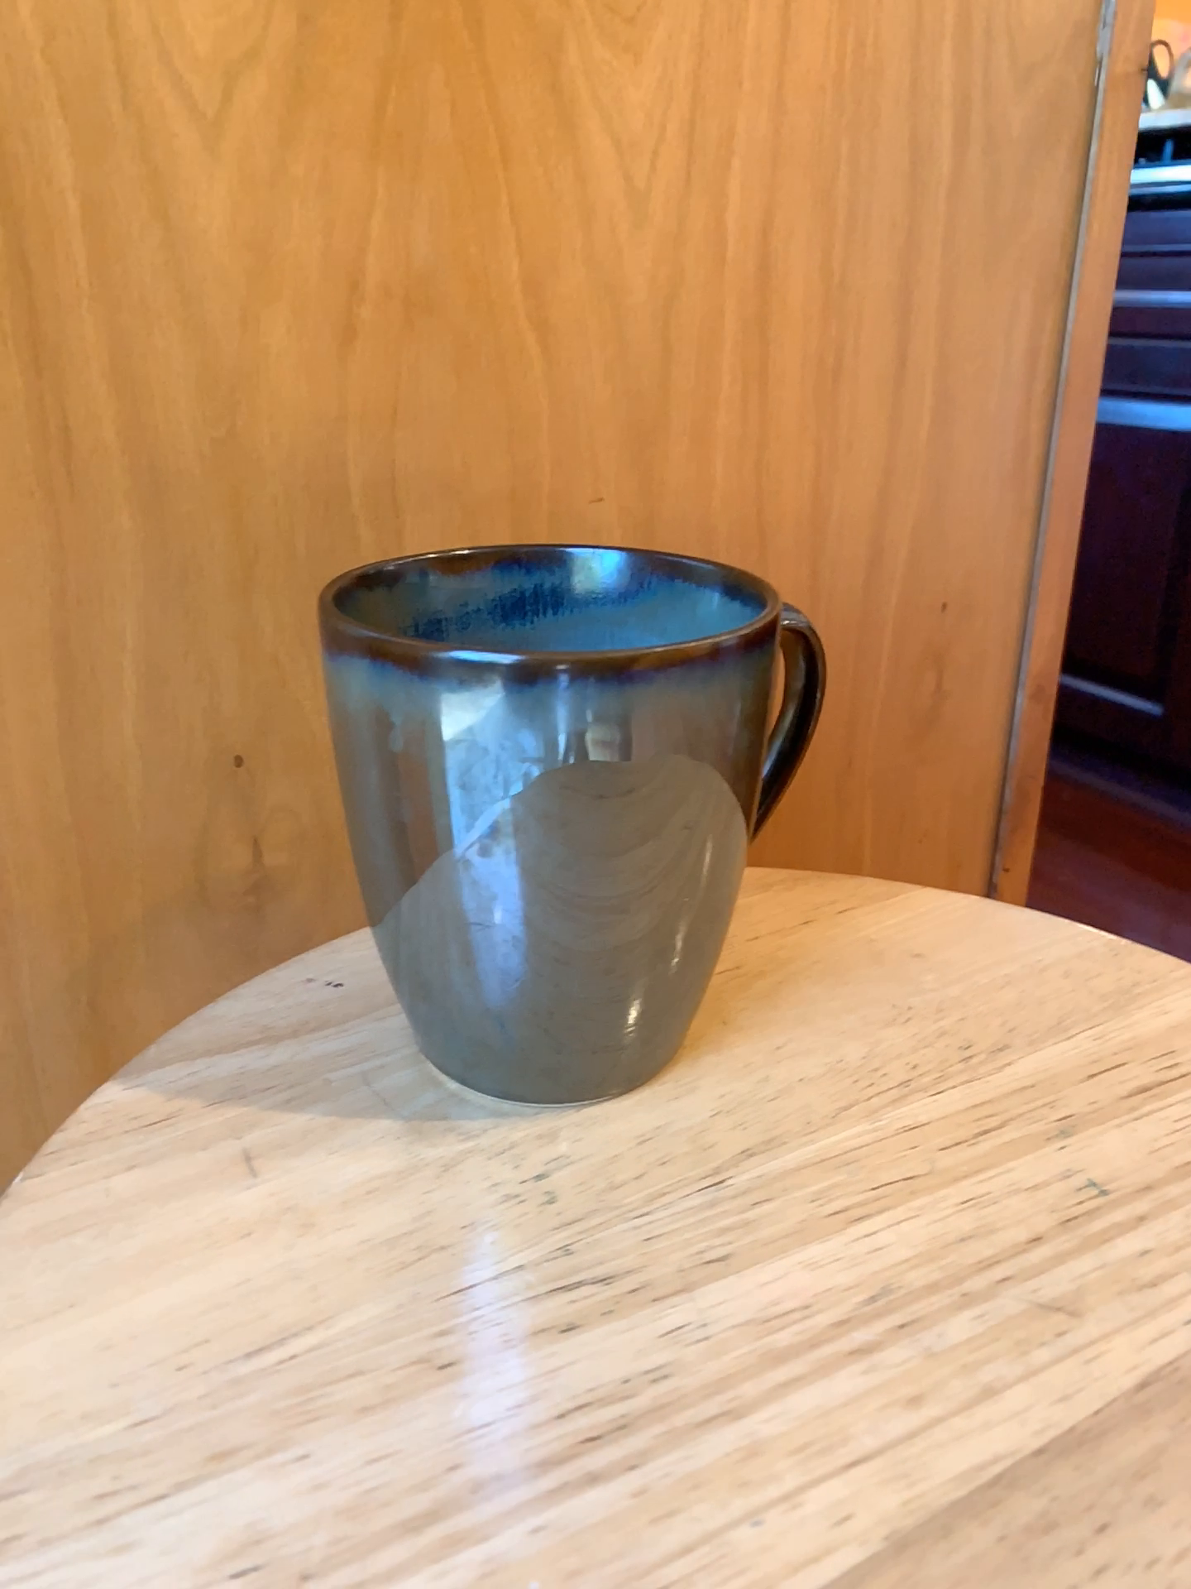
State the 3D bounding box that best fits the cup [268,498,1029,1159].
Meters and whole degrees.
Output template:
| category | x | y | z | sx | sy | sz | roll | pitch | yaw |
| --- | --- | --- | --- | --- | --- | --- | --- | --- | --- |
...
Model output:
| category | x | y | z | sx | sy | sz | roll | pitch | yaw |
| --- | --- | --- | --- | --- | --- | --- | --- | --- | --- |
| cup | 0.008 | -0.005 | 0.251 | 0.120 | 0.090 | 0.080 | -11 | 25 | -27 |
